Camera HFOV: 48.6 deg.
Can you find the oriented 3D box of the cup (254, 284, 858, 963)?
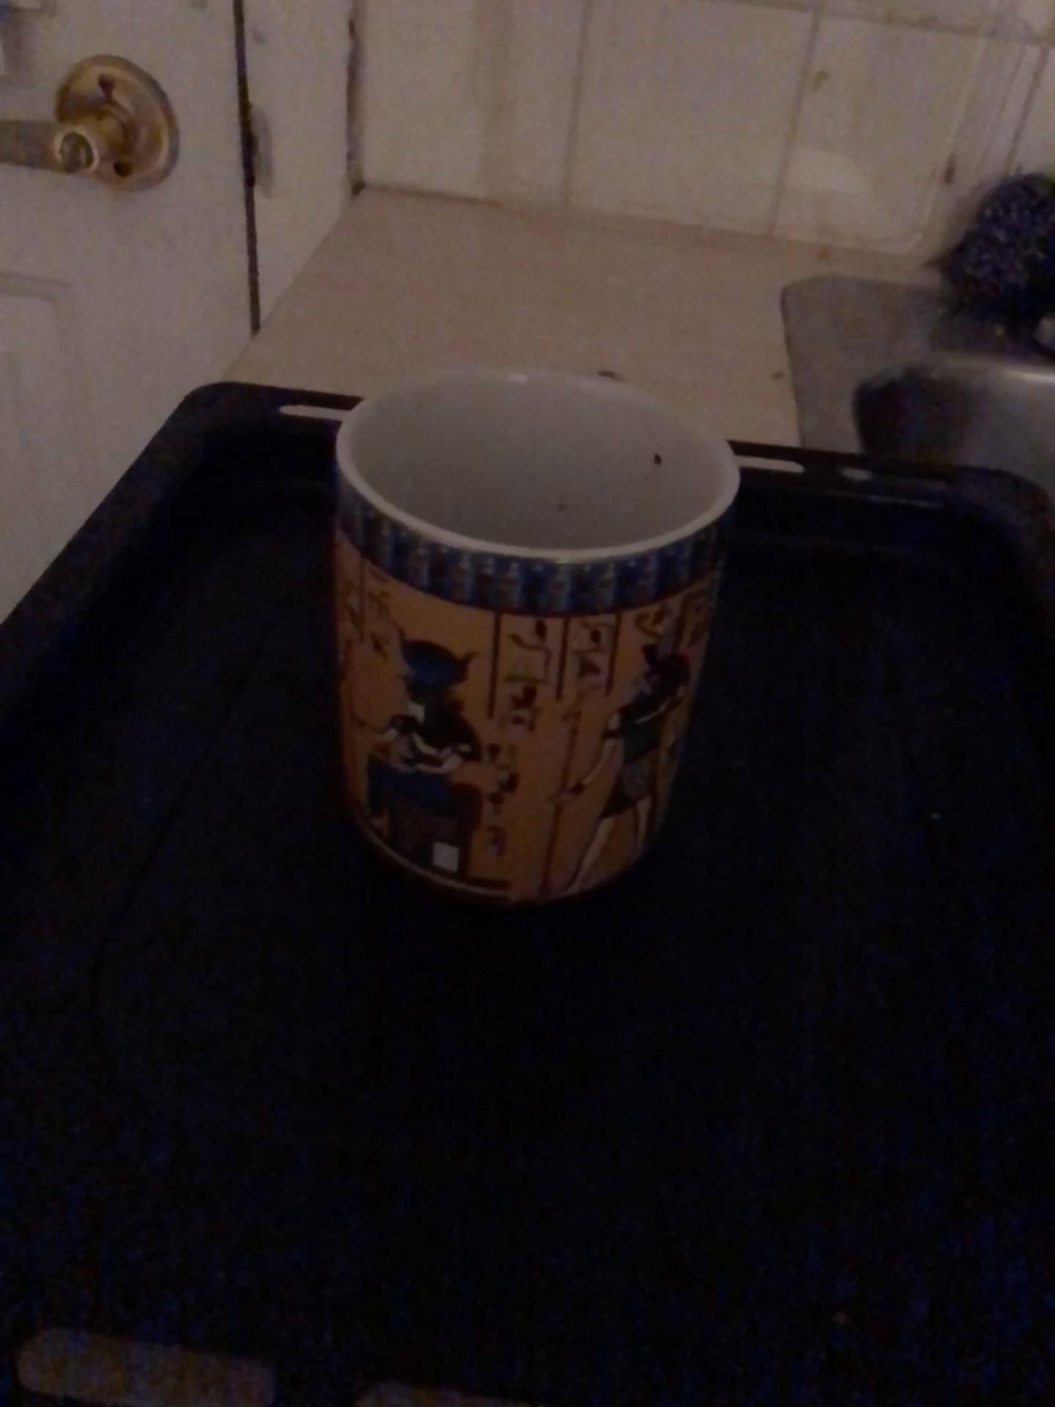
[{"bbox_3d":[0.009,-0.027,0.272,0.080,0.089,0.121,23,42,19],"label":"cup"}]
